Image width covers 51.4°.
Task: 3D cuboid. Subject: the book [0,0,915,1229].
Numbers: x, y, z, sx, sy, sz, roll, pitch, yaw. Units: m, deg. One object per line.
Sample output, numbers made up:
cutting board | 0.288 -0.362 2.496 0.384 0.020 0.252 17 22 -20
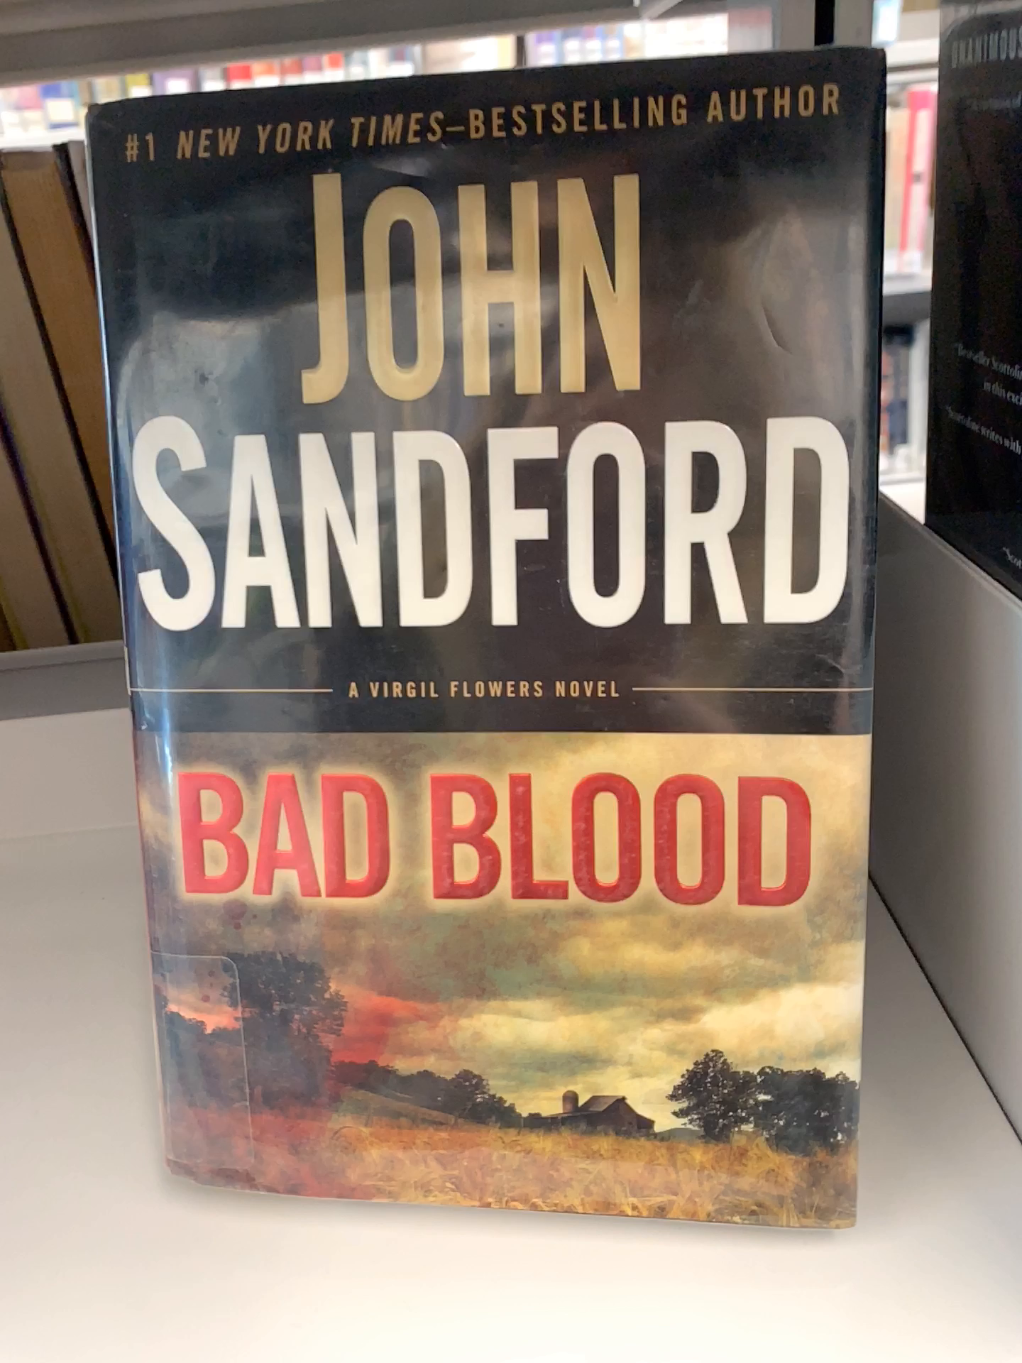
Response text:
book | -0.010 -0.004 0.220 0.165 0.215 0.050 -1 12 10
